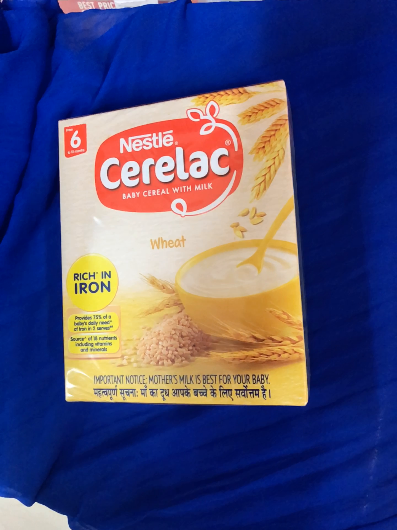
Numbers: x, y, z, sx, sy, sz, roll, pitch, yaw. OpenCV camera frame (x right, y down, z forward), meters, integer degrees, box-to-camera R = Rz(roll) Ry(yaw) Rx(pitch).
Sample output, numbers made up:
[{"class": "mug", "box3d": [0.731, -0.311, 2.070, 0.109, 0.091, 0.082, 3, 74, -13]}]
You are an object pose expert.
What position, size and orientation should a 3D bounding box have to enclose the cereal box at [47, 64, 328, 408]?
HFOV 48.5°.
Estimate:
[{"class": "cereal box", "box3d": [-0.008, -0.011, 0.288, 0.160, 0.060, 0.190, -4, 86, 12]}]
